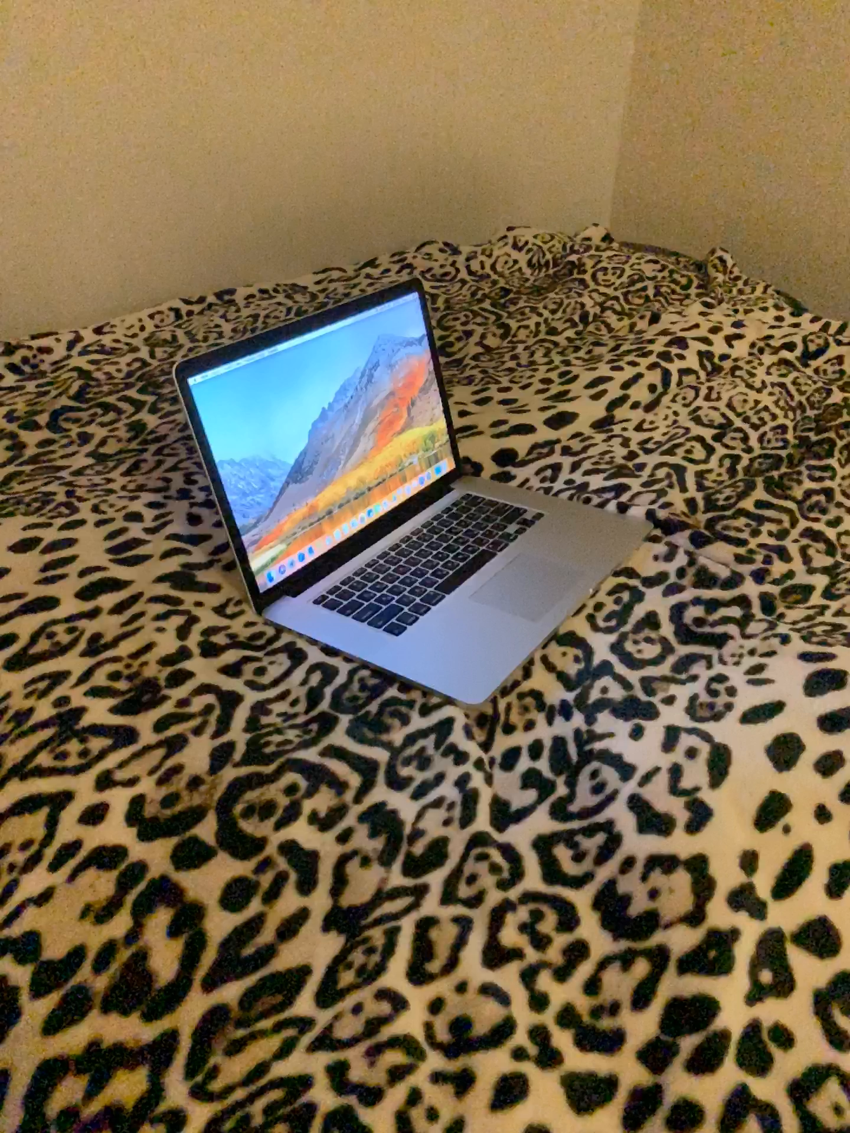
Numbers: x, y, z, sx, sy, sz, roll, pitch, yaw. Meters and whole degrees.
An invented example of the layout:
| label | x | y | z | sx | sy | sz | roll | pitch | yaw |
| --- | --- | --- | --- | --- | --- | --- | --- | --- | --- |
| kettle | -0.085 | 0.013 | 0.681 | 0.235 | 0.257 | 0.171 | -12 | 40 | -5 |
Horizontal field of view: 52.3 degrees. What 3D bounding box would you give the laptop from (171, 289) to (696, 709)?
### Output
| label | x | y | z | sx | sy | sz | roll | pitch | yaw |
| --- | --- | --- | --- | --- | --- | --- | --- | --- | --- |
| laptop | 0.019 | -0.095 | 0.808 | 0.299 | 0.222 | 0.350 | 20 | 38 | 30 |
